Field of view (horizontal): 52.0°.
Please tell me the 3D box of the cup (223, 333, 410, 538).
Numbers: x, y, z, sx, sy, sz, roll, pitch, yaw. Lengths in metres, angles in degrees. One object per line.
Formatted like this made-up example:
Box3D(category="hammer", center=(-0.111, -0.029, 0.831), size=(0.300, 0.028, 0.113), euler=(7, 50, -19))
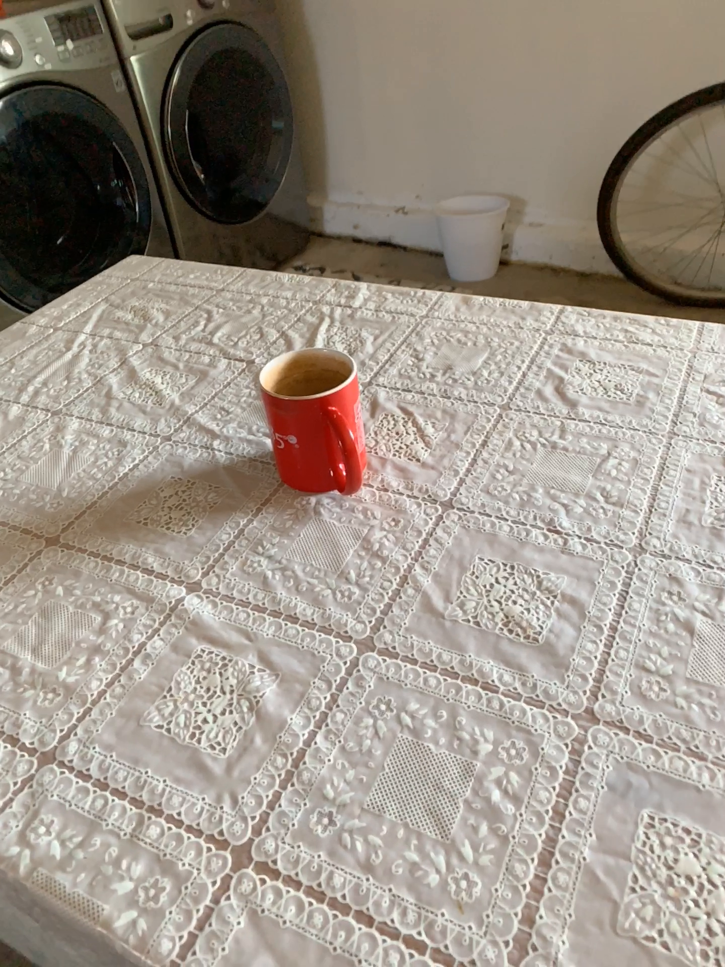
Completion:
Box3D(category="cup", center=(-0.038, -0.044, 0.604), size=(0.090, 0.090, 0.131), euler=(-25, 42, -19))
